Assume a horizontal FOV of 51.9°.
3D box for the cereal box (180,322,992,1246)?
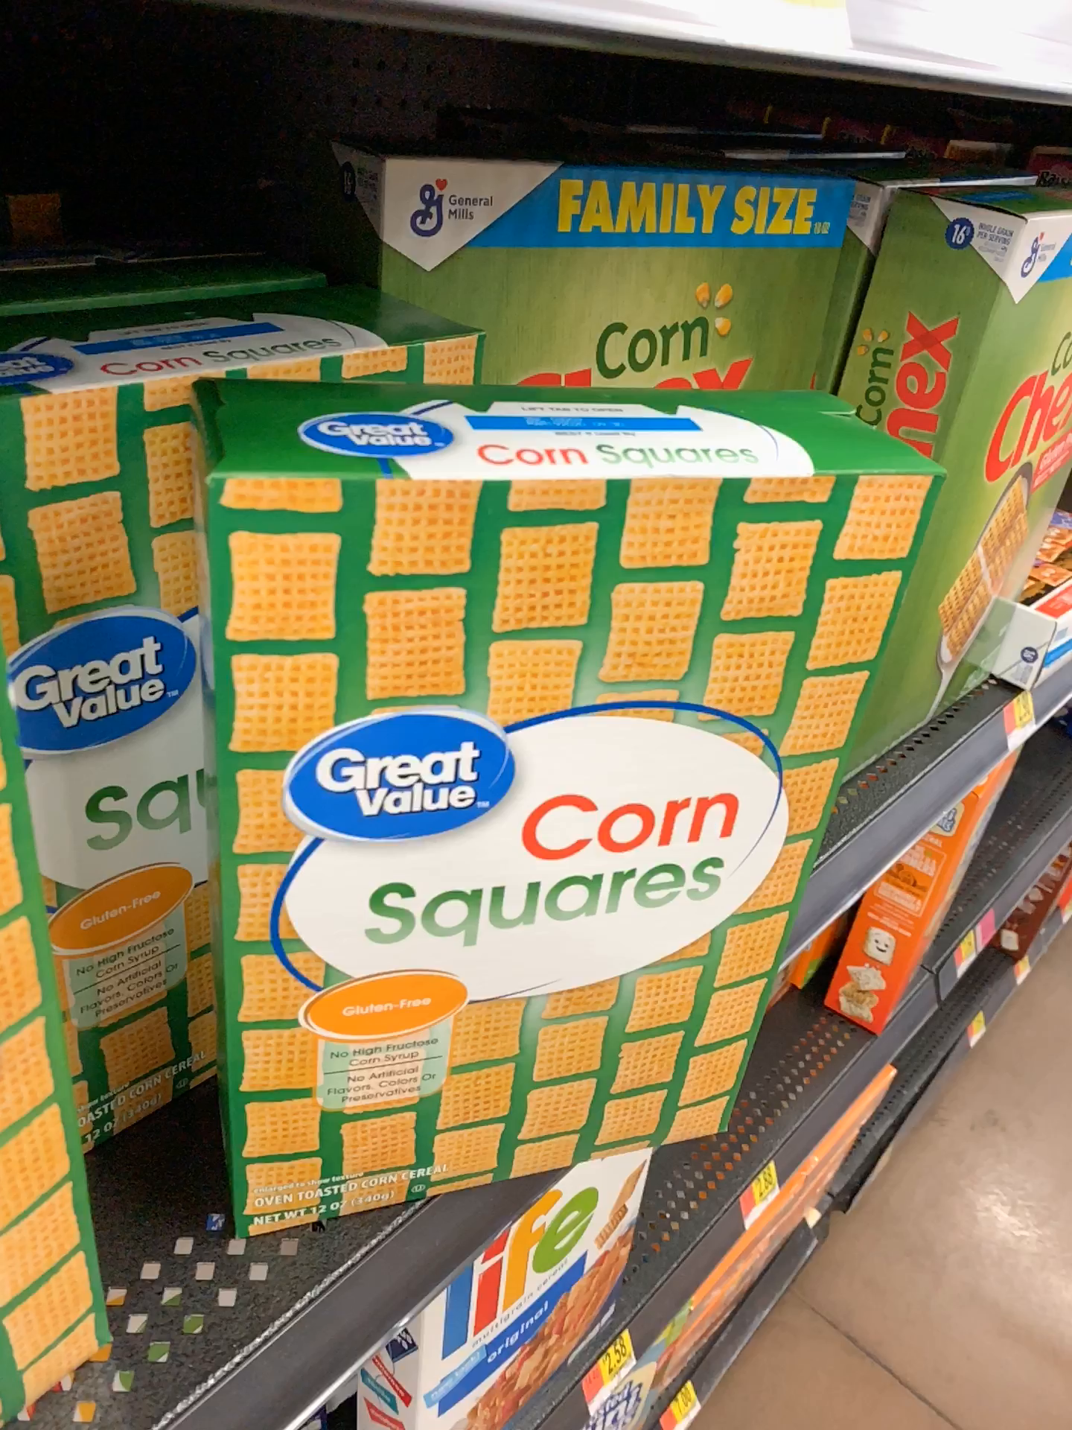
[{"bbox_3d":[-0.004,0.035,0.360,0.200,0.289,0.070,-4,35,-20],"label":"cereal box"}]
